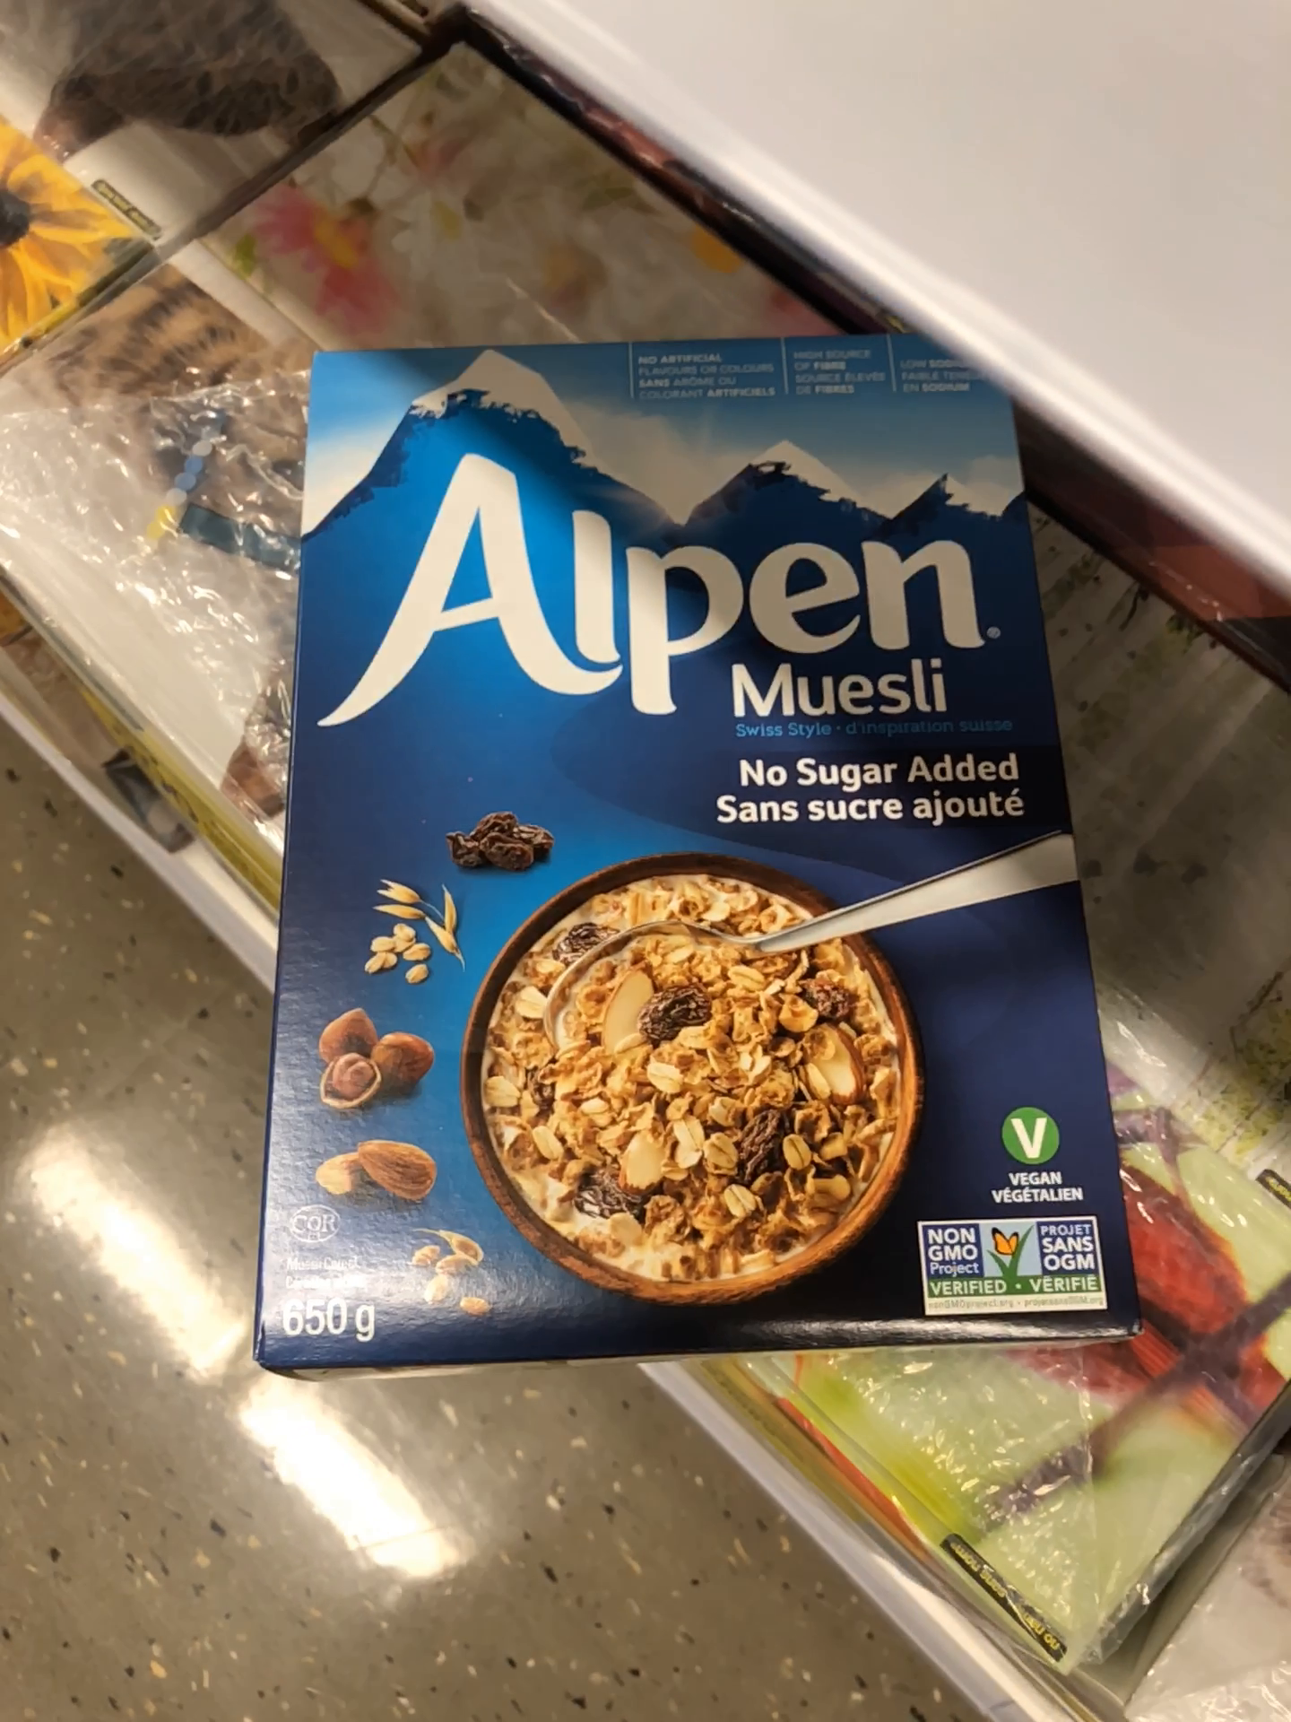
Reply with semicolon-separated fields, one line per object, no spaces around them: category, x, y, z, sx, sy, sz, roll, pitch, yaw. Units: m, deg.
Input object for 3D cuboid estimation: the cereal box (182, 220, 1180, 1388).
cereal box;0.002;-0.023;0.342;0.190;0.050;0.270;-2;71;0
